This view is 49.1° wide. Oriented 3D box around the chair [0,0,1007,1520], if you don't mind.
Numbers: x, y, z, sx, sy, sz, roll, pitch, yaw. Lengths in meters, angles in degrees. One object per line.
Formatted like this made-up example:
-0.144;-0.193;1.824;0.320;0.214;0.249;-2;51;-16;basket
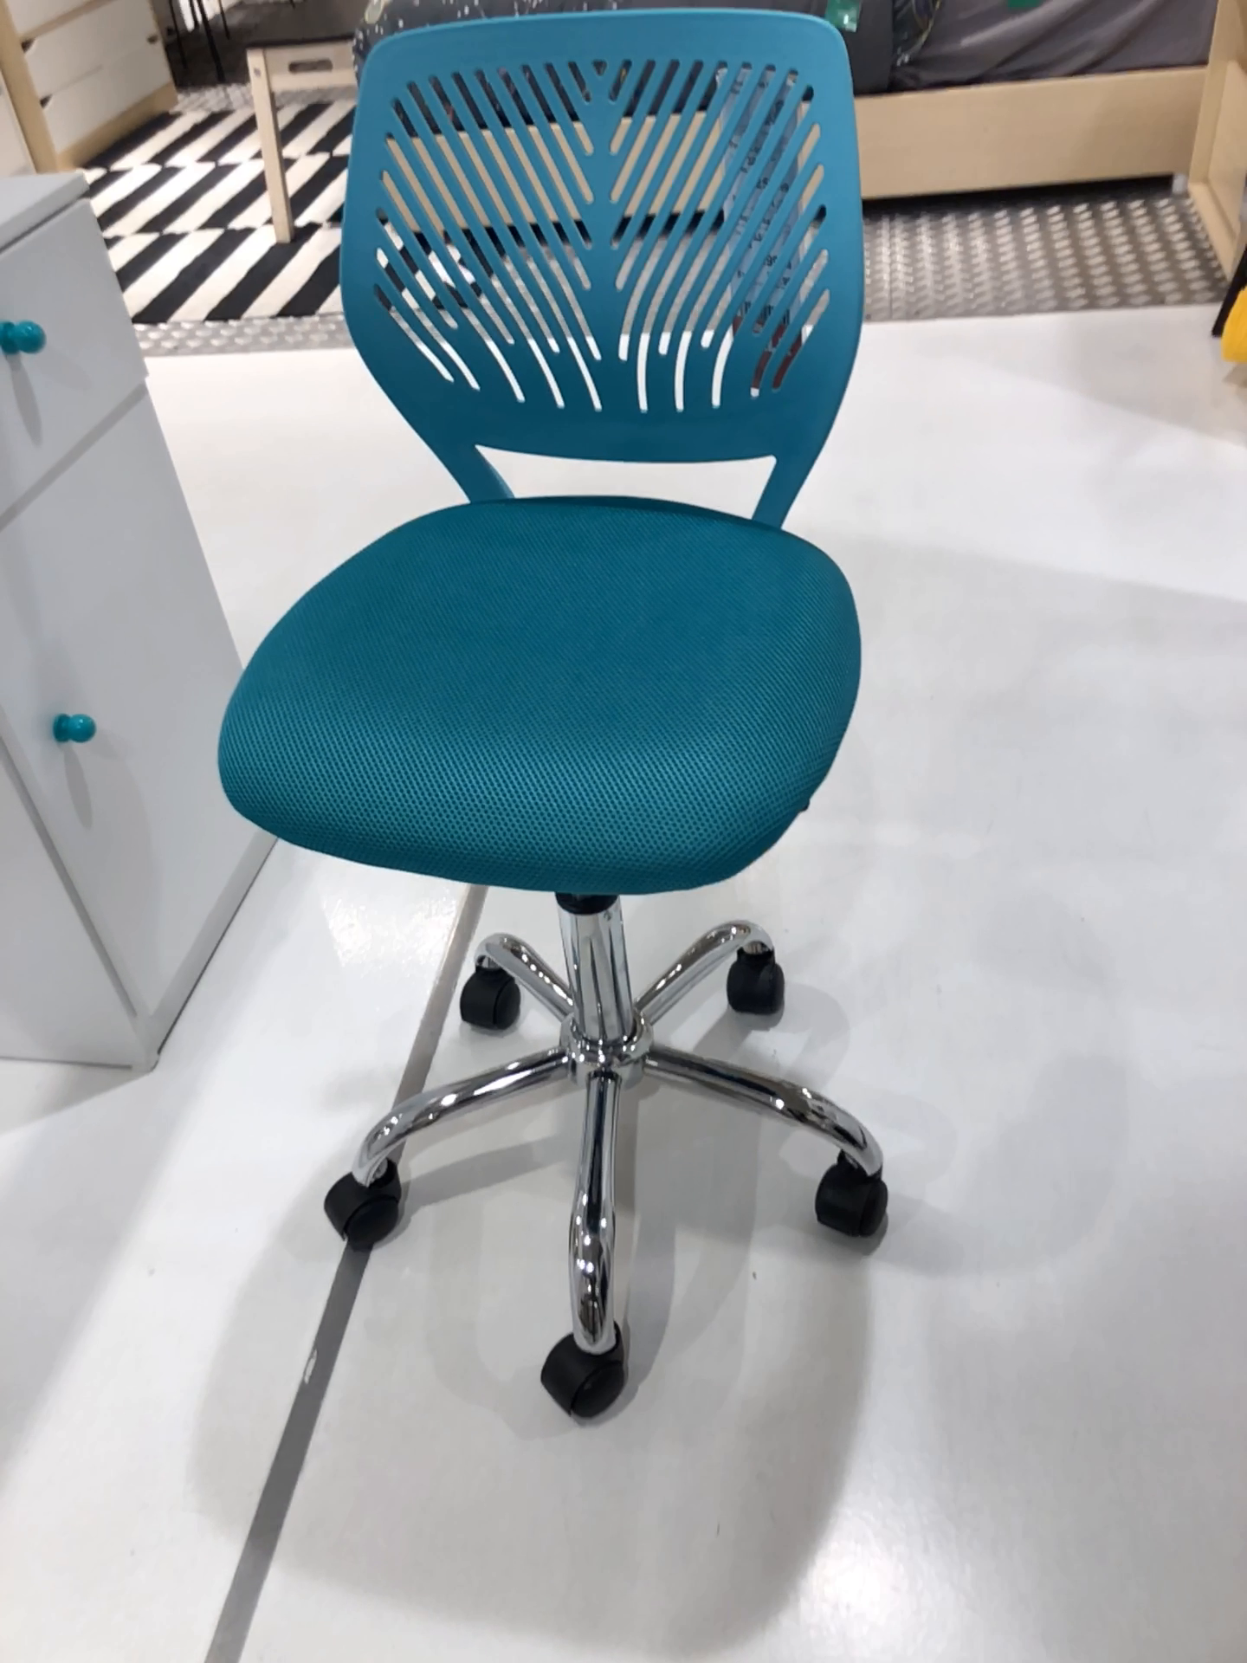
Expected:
-0.041;-0.041;0.919;0.480;0.804;0.534;6;42;16;chair
